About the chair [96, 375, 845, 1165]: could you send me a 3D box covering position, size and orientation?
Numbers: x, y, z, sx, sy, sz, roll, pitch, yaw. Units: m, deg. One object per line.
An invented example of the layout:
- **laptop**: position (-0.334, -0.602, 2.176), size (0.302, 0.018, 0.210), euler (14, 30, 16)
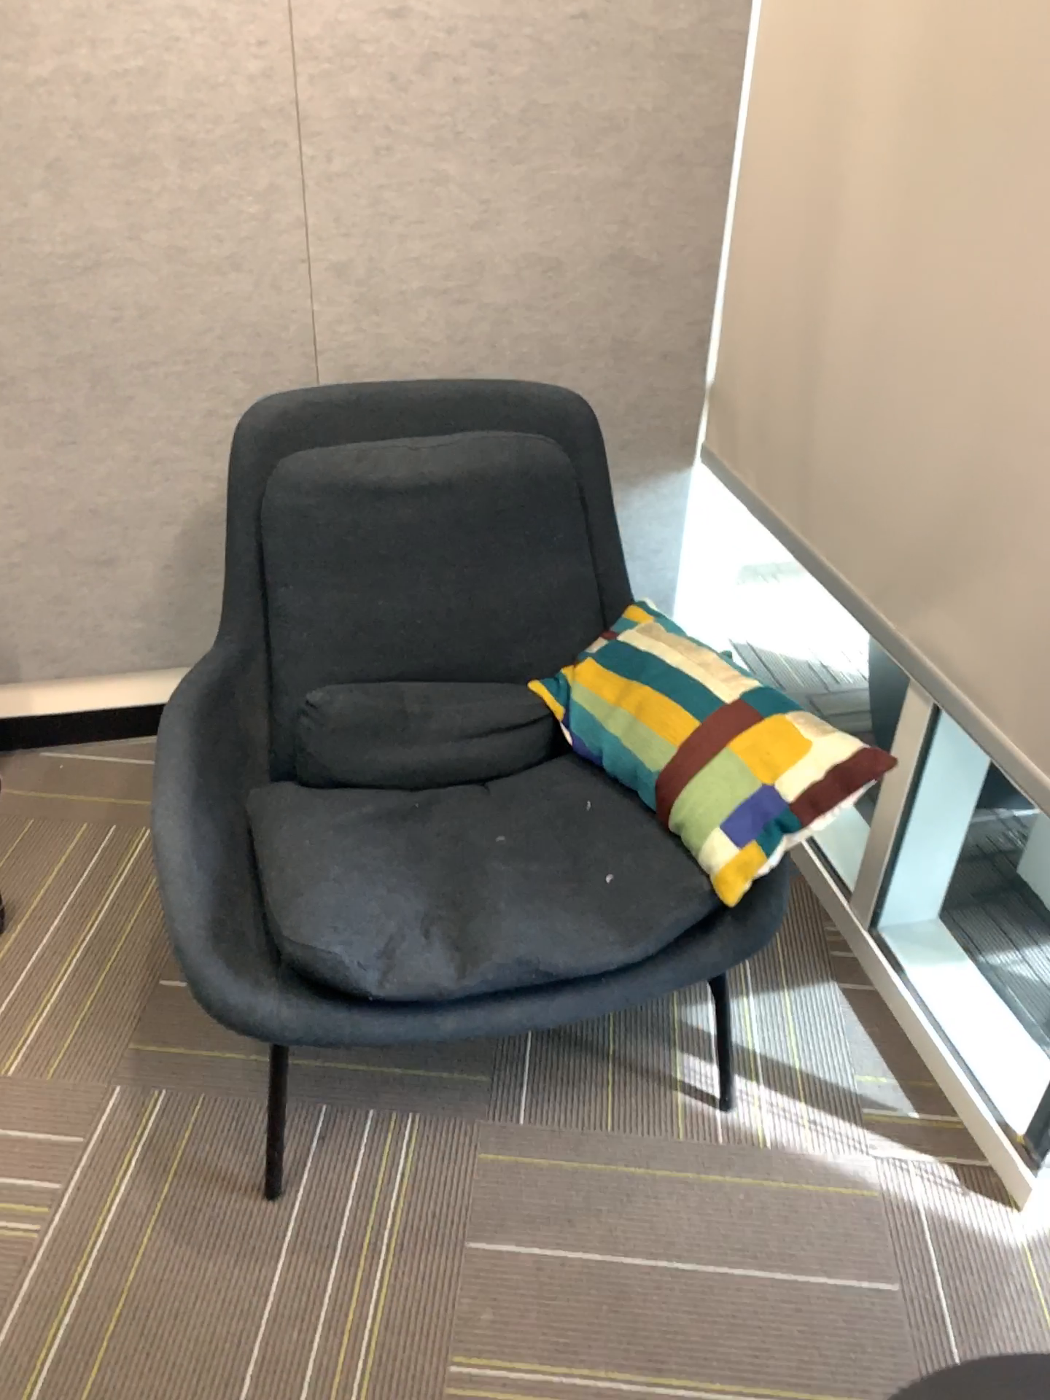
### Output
- **chair**: position (-0.119, 0.028, 1.756), size (0.790, 0.815, 1.006), euler (-3, 34, -7)
